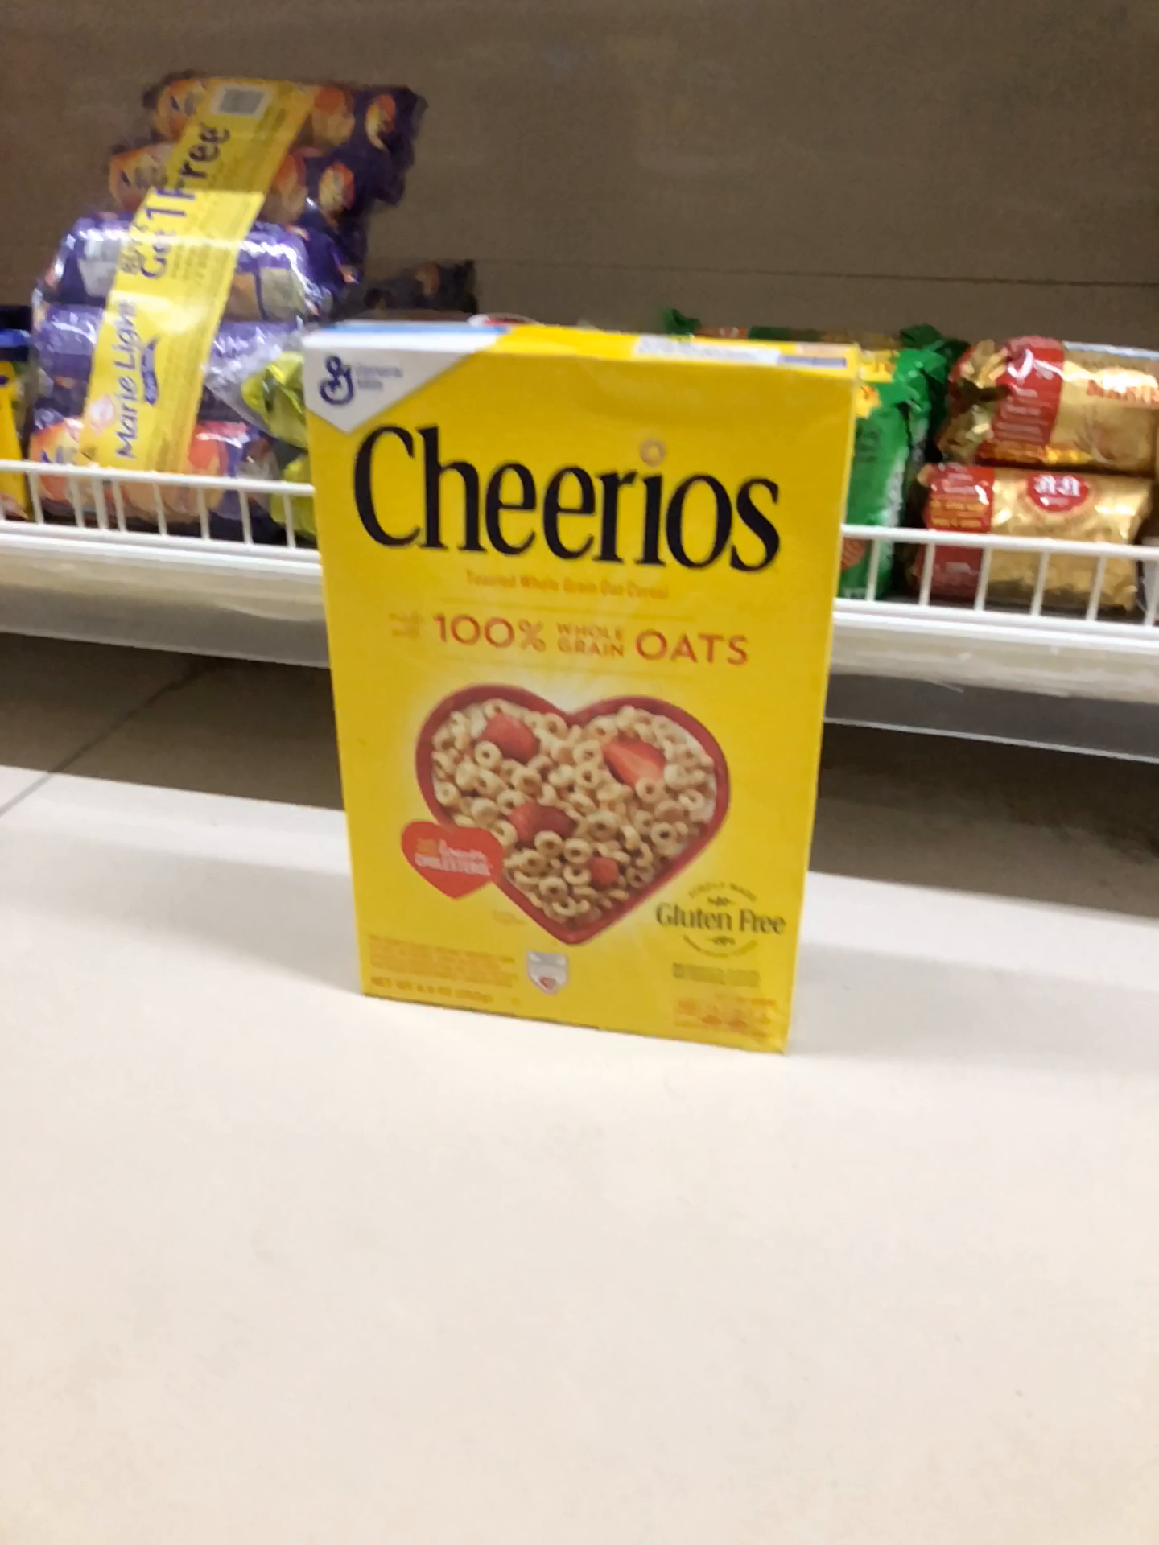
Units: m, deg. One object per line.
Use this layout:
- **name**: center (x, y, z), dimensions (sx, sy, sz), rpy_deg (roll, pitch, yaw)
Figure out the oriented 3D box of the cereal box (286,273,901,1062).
- **cereal box**: center (0.005, -0.035, 0.496), dimensions (0.200, 0.288, 0.060), rpy_deg (6, 27, 11)
